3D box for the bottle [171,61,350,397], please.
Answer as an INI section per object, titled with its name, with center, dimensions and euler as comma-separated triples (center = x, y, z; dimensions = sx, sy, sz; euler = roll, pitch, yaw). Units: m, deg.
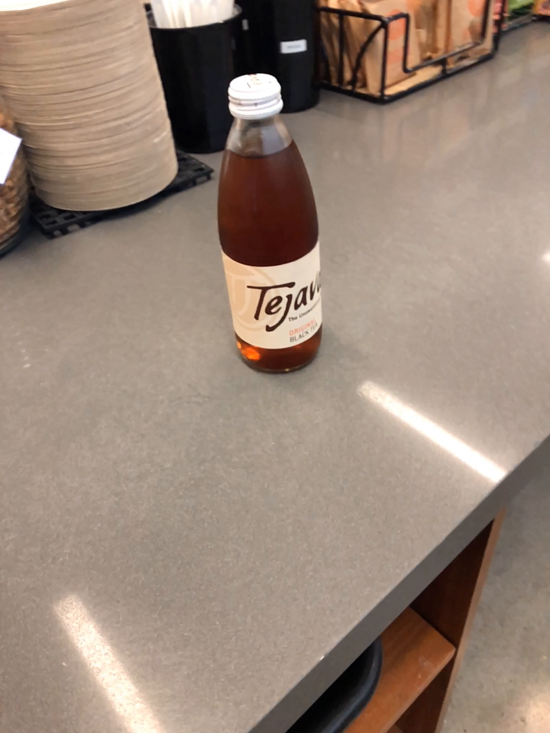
[bottle]
center = -0.002, -0.082, 0.399
dimensions = 0.070, 0.189, 0.070
euler = -3, 42, 3
